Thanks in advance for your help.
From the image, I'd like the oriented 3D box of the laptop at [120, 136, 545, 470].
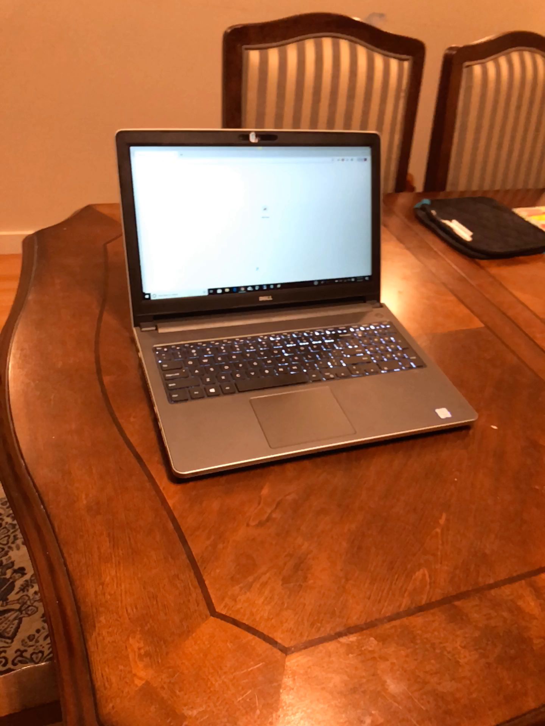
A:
[{"bbox_3d":[0.032,-0.105,0.733,0.369,0.212,0.362,-7,41,-19],"label":"laptop"}]
